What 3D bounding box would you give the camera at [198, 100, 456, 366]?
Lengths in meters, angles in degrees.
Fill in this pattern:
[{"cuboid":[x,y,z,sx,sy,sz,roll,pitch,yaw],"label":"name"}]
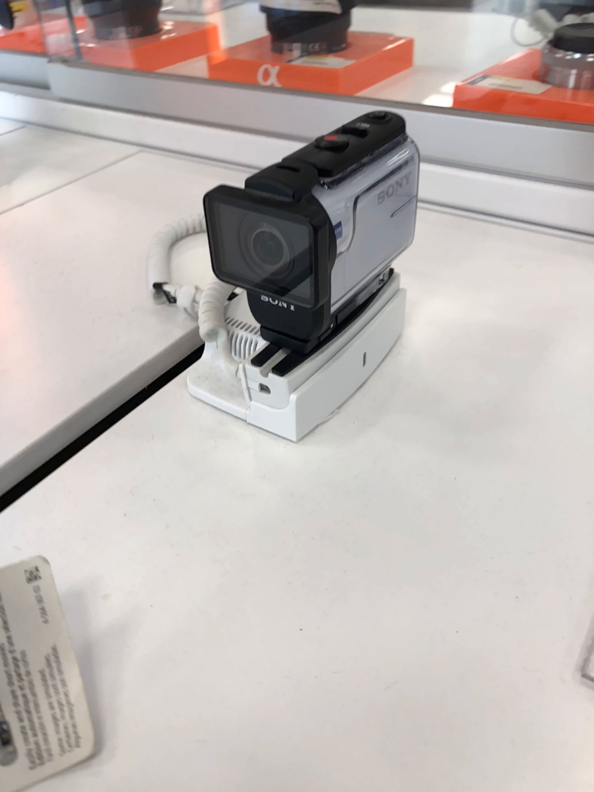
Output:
[{"cuboid":[0.015,-0.066,0.250,0.050,0.060,0.090,20,44,28],"label":"camera"}]
